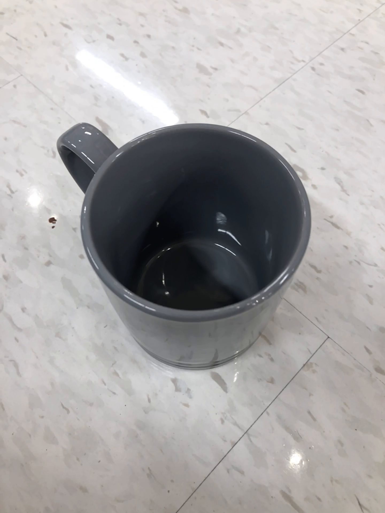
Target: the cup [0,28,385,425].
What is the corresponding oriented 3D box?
[{"bbox_3d":[-0.014,-0.014,0.213,0.150,0.090,0.100,40,70,17],"label":"cup"}]
